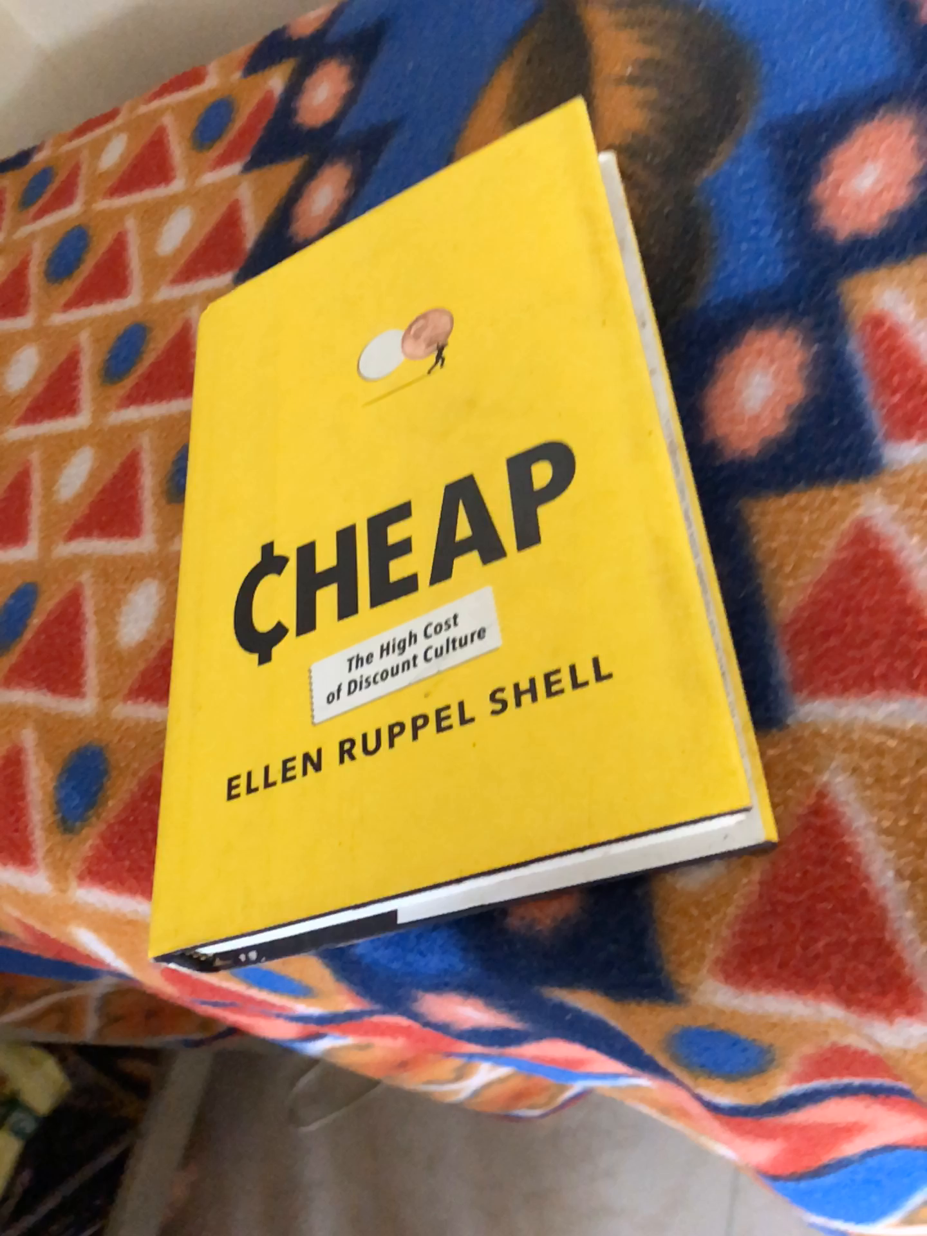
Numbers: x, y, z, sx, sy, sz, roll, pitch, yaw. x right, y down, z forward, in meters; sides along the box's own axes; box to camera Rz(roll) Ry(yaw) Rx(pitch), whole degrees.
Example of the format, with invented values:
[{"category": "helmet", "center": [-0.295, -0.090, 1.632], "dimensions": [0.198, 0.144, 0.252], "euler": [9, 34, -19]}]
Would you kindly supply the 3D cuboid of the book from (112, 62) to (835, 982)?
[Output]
[{"category": "book", "center": [-0.014, -0.037, 0.298], "dimensions": [0.170, 0.030, 0.240], "euler": [-19, 56, 21]}]
